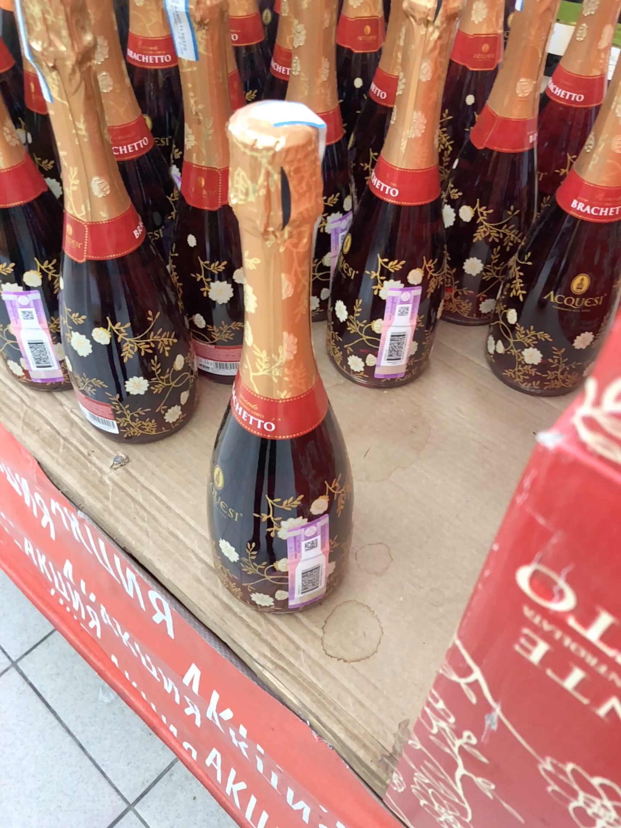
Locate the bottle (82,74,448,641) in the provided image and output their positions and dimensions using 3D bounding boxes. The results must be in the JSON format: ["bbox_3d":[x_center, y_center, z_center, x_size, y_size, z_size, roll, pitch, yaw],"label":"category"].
[{"bbox_3d":[-0.023,-0.004,0.355,0.100,0.279,0.100,1,49,-1],"label":"bottle"}]
